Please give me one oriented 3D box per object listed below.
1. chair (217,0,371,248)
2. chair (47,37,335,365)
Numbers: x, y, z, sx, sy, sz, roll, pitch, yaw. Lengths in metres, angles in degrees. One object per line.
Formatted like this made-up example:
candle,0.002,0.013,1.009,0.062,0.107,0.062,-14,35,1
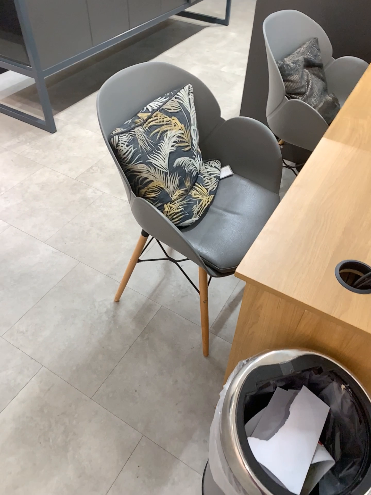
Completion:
chair,0.566,-0.565,1.734,0.548,0.809,0.591,26,51,21
chair,0.033,-0.152,1.318,0.548,0.809,0.601,26,51,21
